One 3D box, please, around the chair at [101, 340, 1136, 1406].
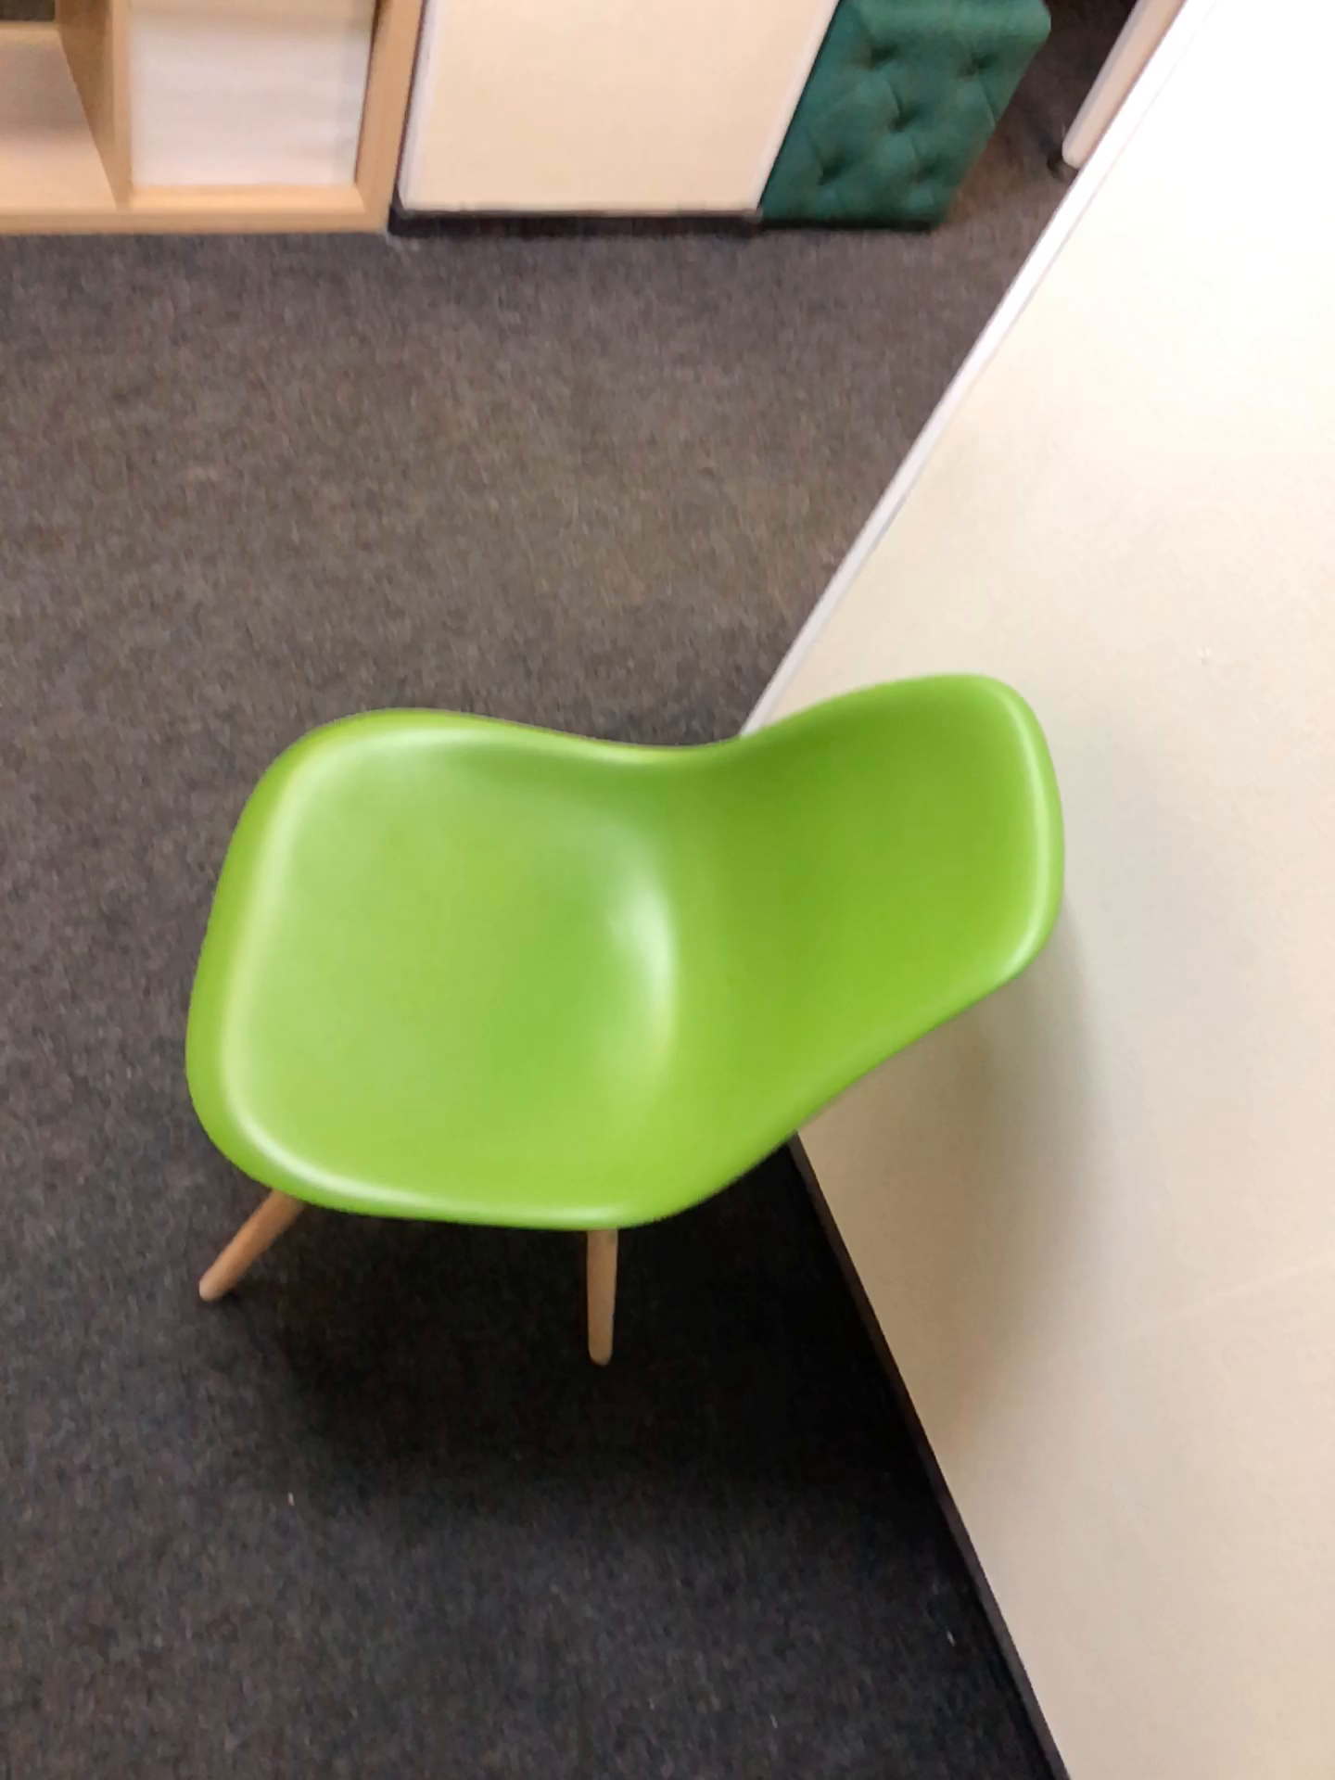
[{"bbox_3d":[-0.084,0.070,1.201,0.580,0.707,0.482,14,58,-12],"label":"chair"}]
